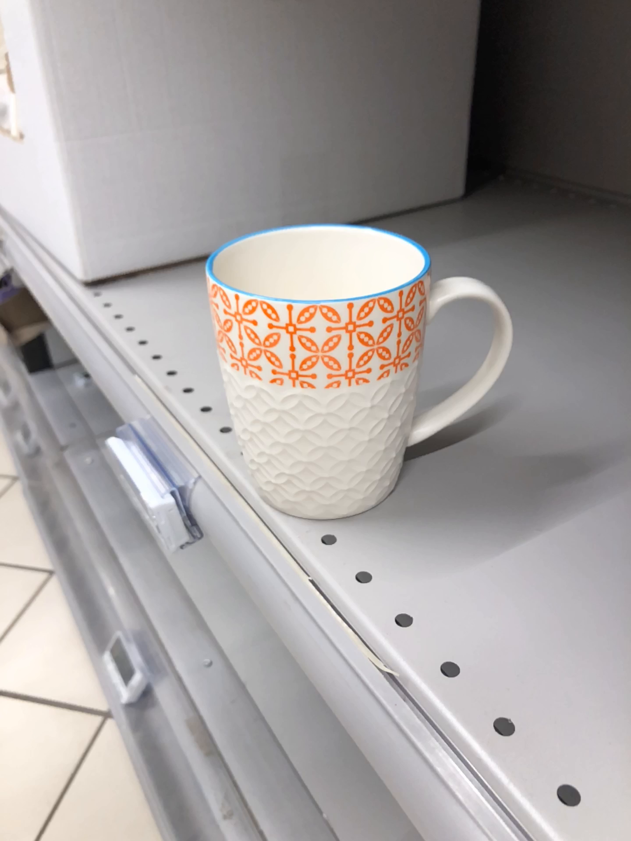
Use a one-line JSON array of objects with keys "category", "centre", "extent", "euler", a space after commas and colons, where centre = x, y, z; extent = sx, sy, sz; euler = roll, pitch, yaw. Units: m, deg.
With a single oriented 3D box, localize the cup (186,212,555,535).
[{"category": "cup", "centre": [0.019, -0.022, 0.287], "extent": [0.117, 0.095, 0.091], "euler": [-2, 32, 0]}]
